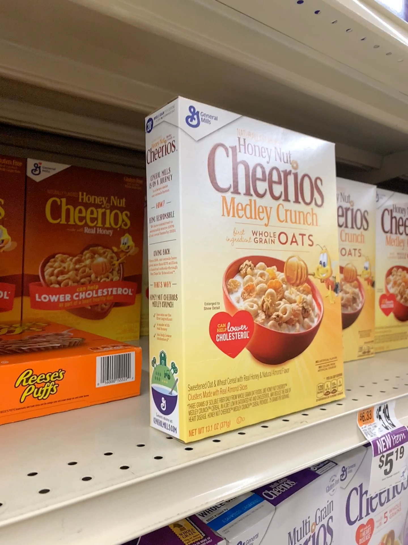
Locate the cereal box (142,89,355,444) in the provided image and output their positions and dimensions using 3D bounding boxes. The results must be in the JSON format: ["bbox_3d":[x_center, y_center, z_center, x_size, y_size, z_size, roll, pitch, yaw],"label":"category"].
[{"bbox_3d":[0.046,-0.006,0.377,0.190,0.250,0.060,0,-4,-37],"label":"cereal box"}]
